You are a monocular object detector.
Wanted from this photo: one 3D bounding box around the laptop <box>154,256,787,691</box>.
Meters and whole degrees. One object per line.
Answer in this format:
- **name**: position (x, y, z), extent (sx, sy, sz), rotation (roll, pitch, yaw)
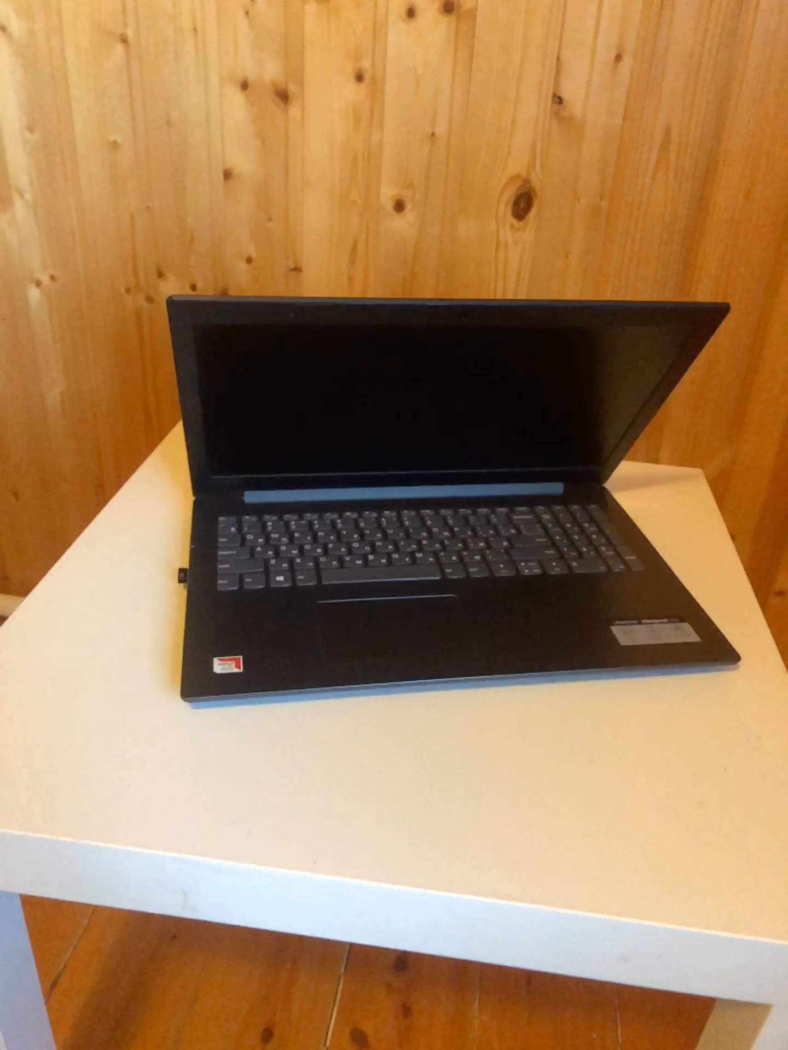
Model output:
- **laptop**: position (0.038, -0.056, 0.617), extent (0.372, 0.206, 0.251), rotation (-2, 29, -9)
